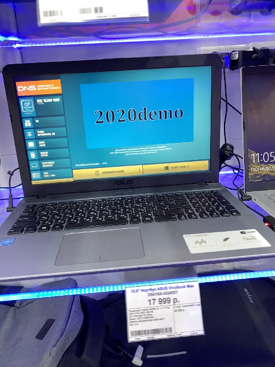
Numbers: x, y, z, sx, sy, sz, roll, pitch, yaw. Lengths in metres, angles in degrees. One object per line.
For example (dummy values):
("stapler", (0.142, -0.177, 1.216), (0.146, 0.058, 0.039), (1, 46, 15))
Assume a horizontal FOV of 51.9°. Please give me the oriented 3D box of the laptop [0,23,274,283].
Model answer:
("laptop", (-0.024, -0.061, 0.403), (0.372, 0.232, 0.263), (-5, 18, -3))
